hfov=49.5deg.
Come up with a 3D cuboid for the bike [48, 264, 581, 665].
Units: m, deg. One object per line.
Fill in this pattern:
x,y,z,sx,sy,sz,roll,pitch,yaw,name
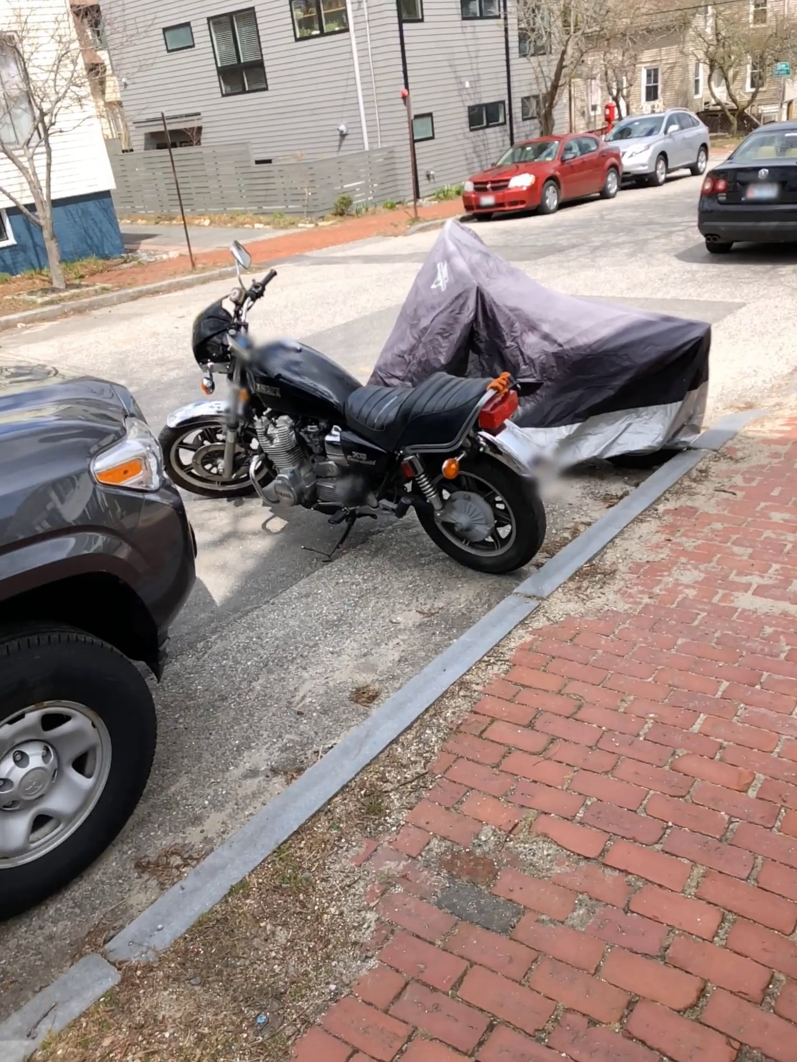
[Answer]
-0.414,-0.433,4.005,2.298,1.419,0.689,11,32,33,bike
